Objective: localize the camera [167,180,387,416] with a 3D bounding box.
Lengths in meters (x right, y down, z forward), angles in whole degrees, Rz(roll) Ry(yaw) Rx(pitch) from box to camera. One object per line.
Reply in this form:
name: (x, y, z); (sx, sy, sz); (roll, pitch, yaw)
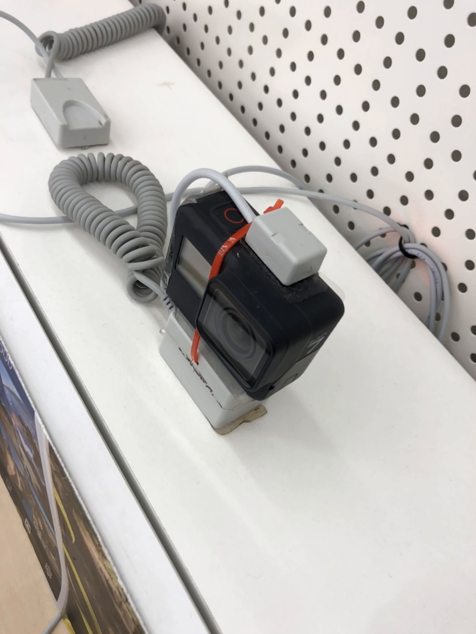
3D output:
camera: (0.010, -0.008, 0.186); (0.032, 0.043, 0.064); (-27, 66, -34)
